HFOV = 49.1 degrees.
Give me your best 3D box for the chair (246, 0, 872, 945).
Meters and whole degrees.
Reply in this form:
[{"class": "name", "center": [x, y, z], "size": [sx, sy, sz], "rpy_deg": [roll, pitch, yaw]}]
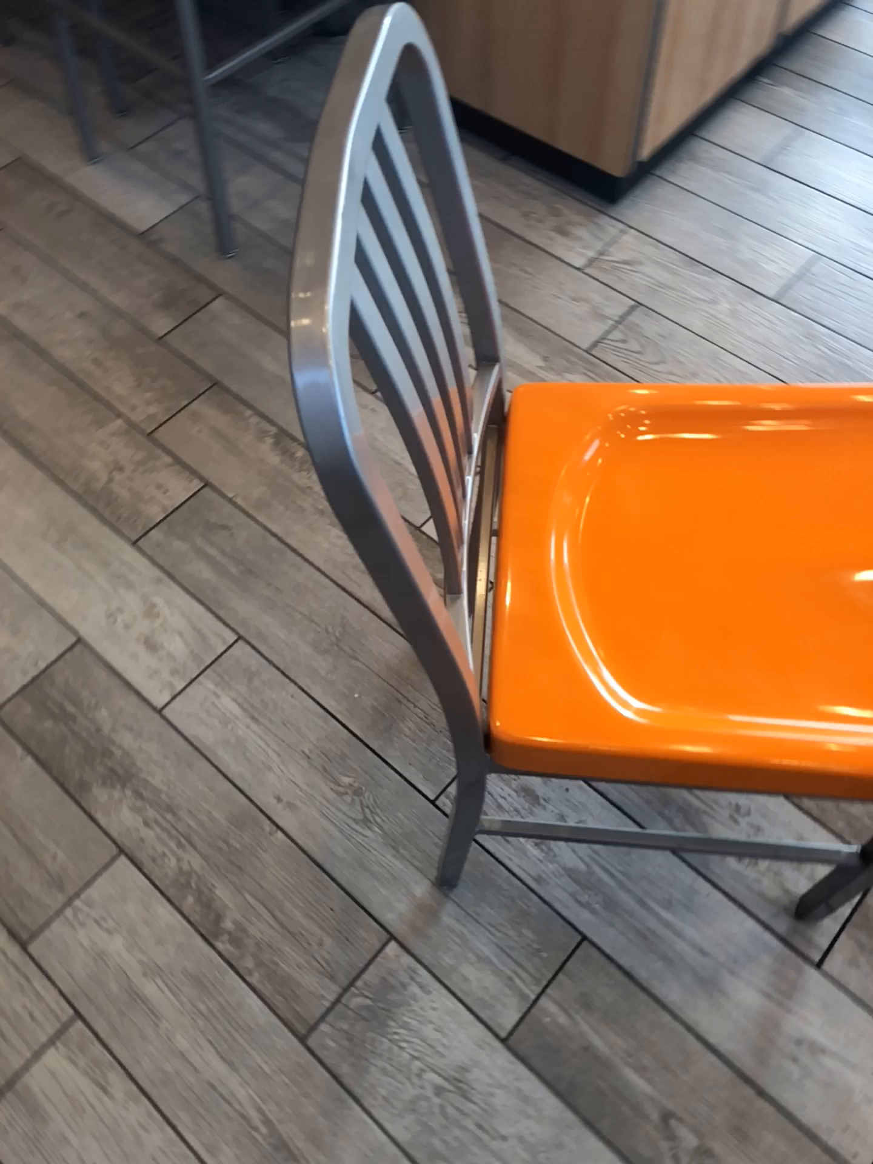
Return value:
[{"class": "chair", "center": [0.217, -0.038, 0.812], "size": [0.510, 0.819, 0.471], "rpy_deg": [3, 59, 4]}]
